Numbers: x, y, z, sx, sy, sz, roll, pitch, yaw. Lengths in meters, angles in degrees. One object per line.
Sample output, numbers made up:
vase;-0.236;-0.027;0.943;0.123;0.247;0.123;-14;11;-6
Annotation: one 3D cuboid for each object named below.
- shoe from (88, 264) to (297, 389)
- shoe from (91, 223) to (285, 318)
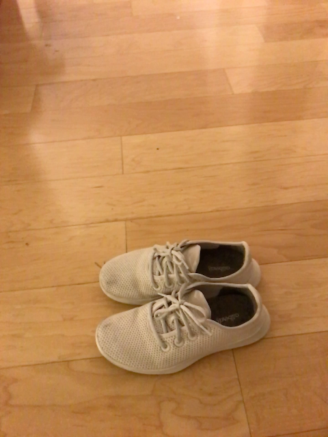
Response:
shoe;0.036;0.161;0.540;0.280;0.080;0.111;-9;53;-6
shoe;0.034;0.086;0.594;0.290;0.080;0.111;-4;52;-2
